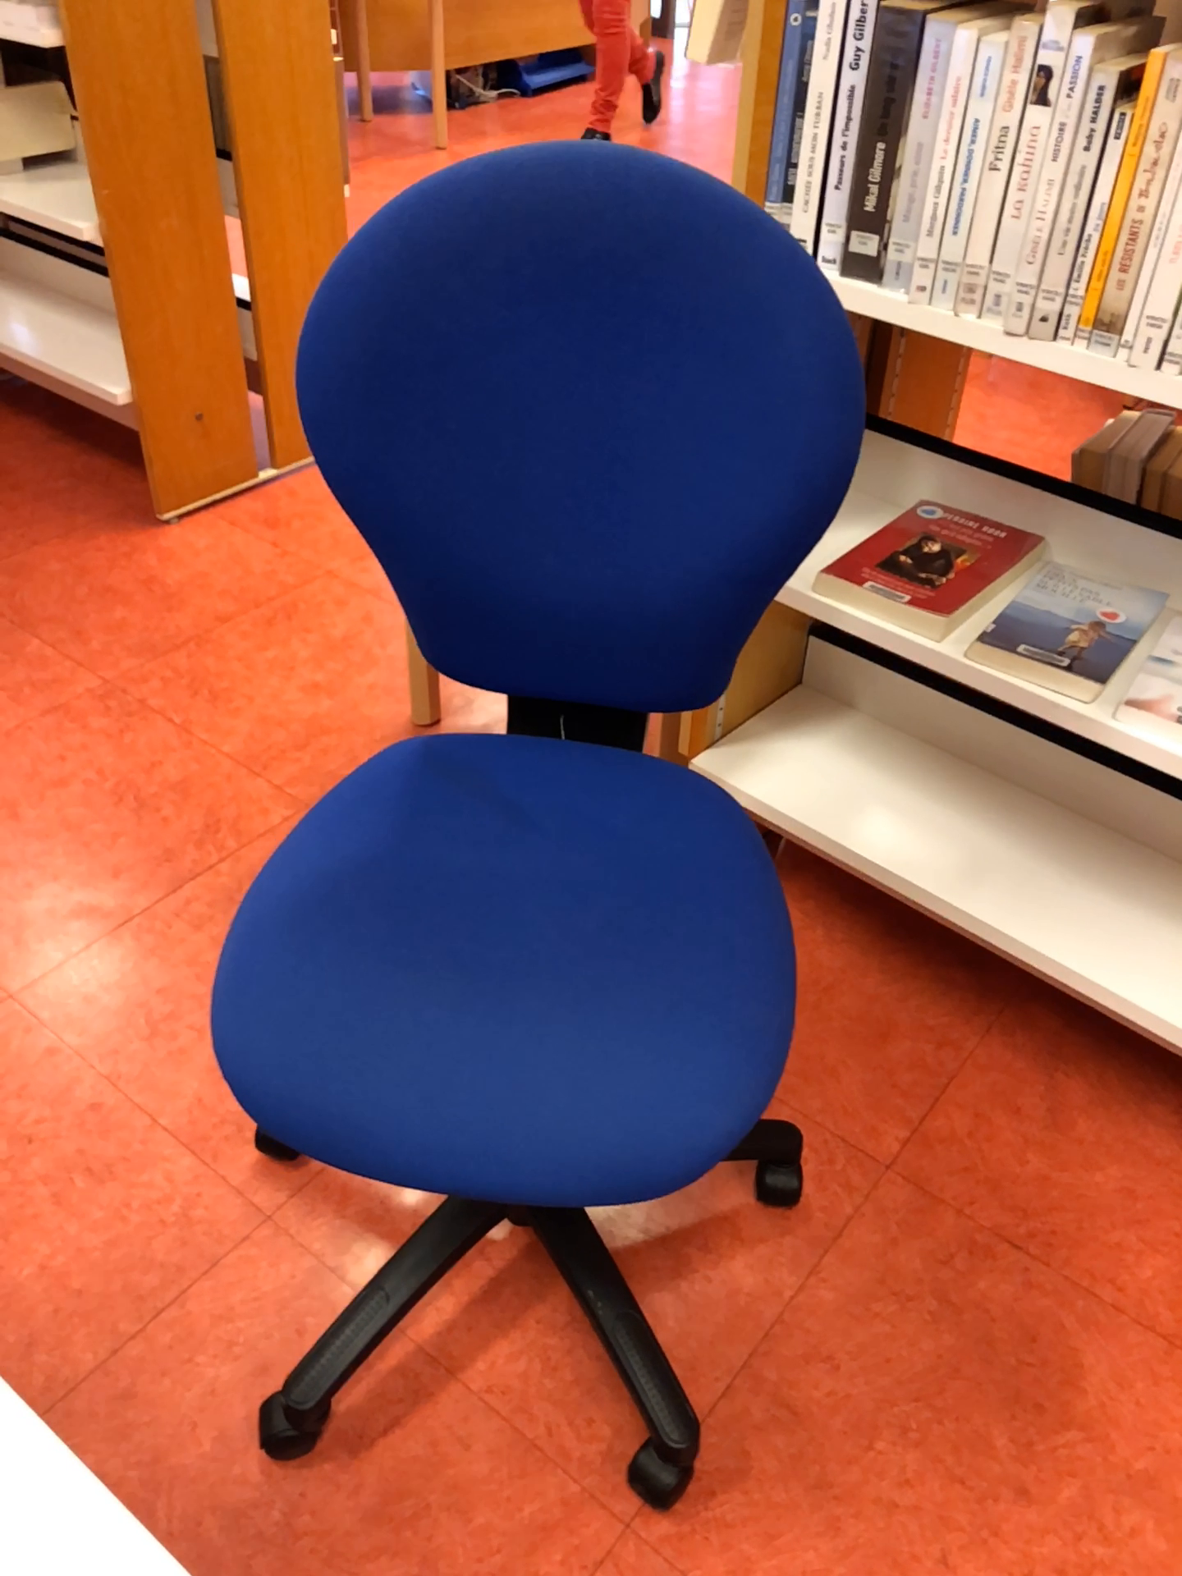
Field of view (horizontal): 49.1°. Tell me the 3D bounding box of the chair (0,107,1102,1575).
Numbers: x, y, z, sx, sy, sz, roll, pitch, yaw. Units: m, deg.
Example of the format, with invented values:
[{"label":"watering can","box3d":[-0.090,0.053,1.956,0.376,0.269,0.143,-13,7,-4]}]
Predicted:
[{"label":"chair","box3d":[-0.067,0.058,1.031,0.660,0.914,0.624,12,40,12]}]
